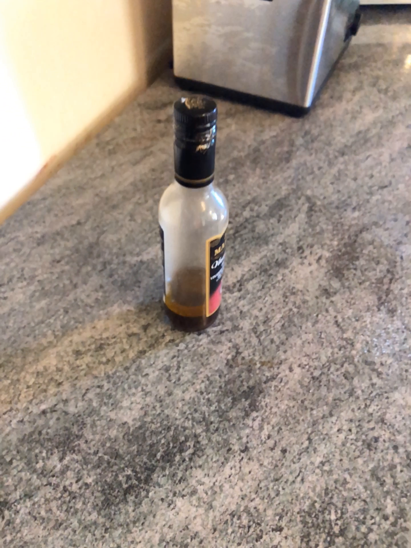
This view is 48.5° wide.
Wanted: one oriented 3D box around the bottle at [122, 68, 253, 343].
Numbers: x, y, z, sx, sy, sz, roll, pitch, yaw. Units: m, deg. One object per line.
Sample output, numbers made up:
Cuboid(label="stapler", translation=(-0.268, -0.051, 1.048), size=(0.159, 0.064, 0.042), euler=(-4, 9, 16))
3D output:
Cuboid(label="bottle", translation=(-0.012, -0.043, 0.394), size=(0.070, 0.228, 0.070), euler=(1, 47, -1))
